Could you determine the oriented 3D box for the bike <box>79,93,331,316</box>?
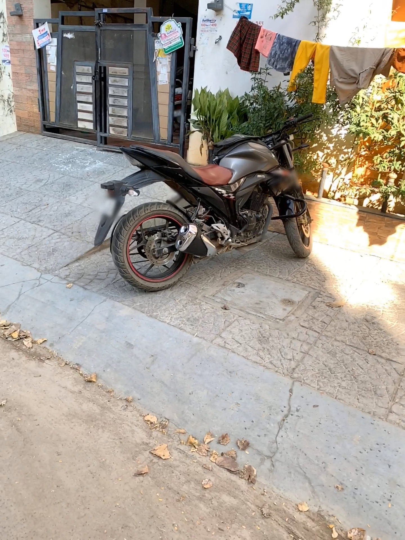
[{"bbox_3d":[0.028,-0.600,2.948,1.627,1.140,0.810,-16,31,-37],"label":"bike"}]
